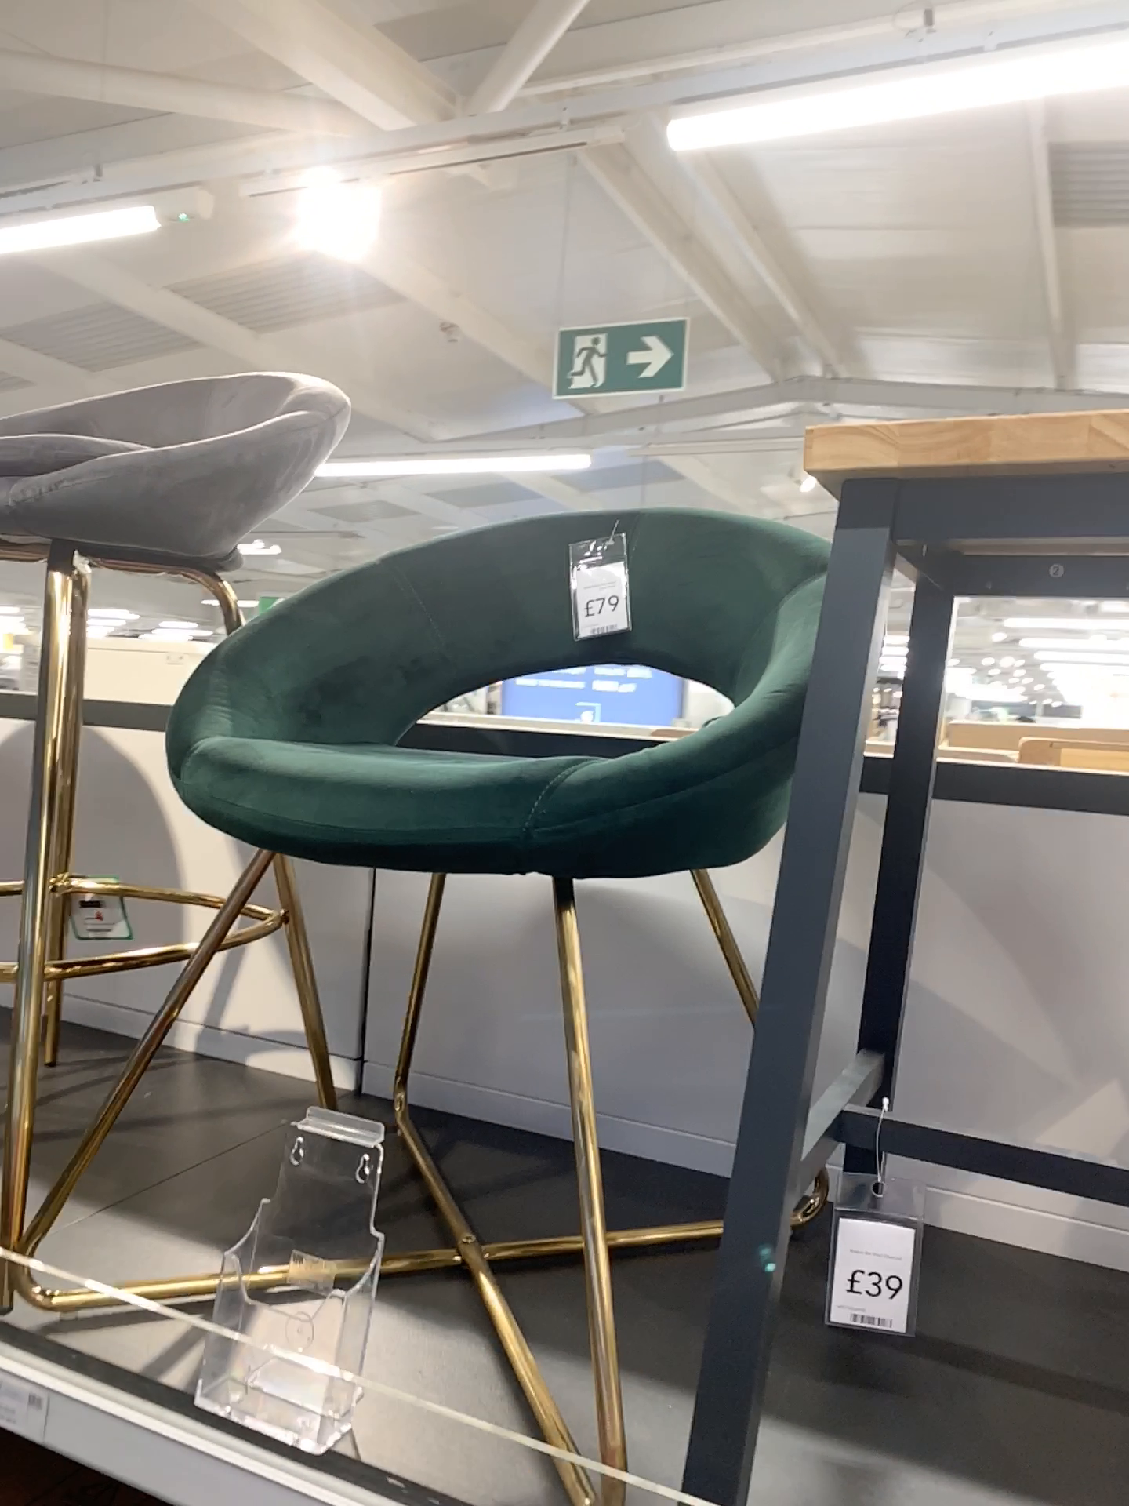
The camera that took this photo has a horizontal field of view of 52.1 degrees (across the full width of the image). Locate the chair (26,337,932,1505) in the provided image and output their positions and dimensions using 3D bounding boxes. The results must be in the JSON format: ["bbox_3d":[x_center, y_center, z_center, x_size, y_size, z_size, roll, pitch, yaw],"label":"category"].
[{"bbox_3d":[-0.035,0.103,1.105,0.629,0.777,0.554,4,1,24],"label":"chair"}]
